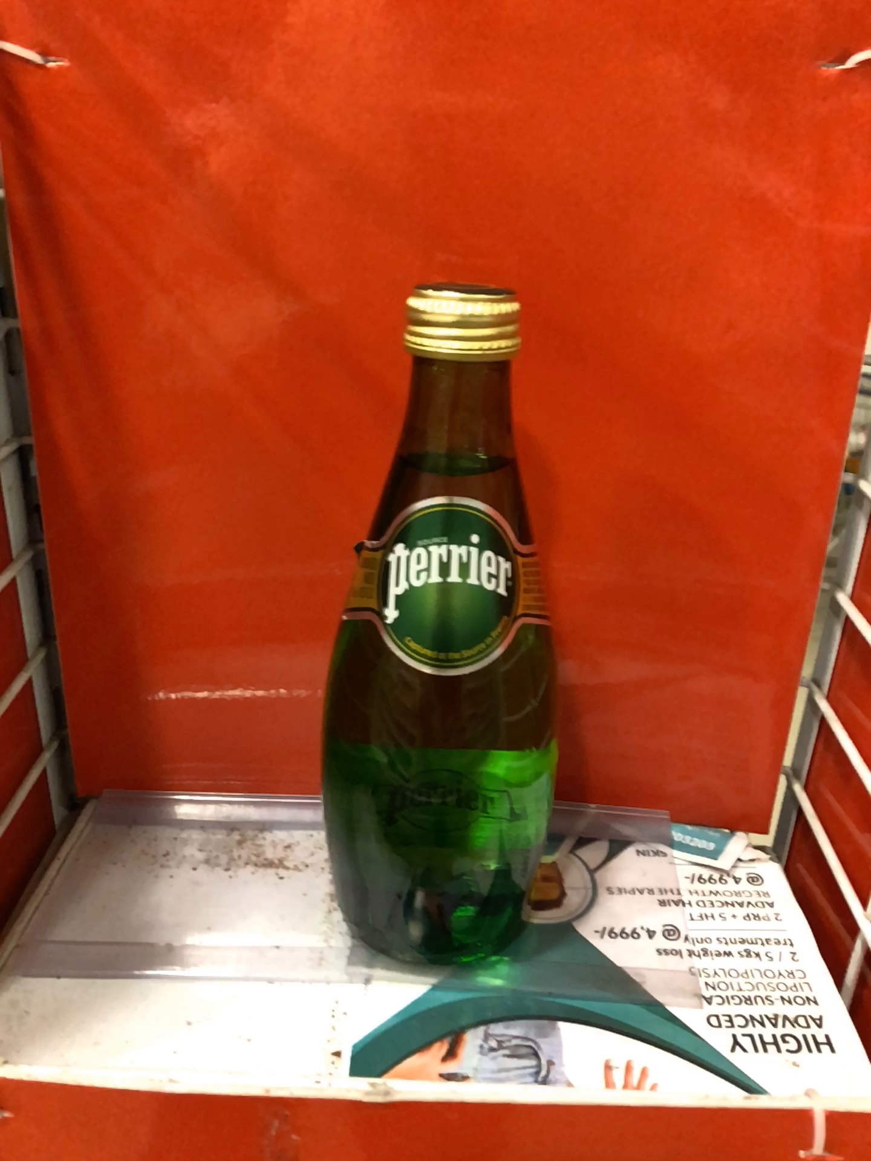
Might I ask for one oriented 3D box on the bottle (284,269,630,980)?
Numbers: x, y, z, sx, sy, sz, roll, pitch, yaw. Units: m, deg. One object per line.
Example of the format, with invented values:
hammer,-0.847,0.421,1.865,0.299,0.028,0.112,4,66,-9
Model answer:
bottle,0.002,0.015,0.258,0.070,0.179,0.060,2,24,1
